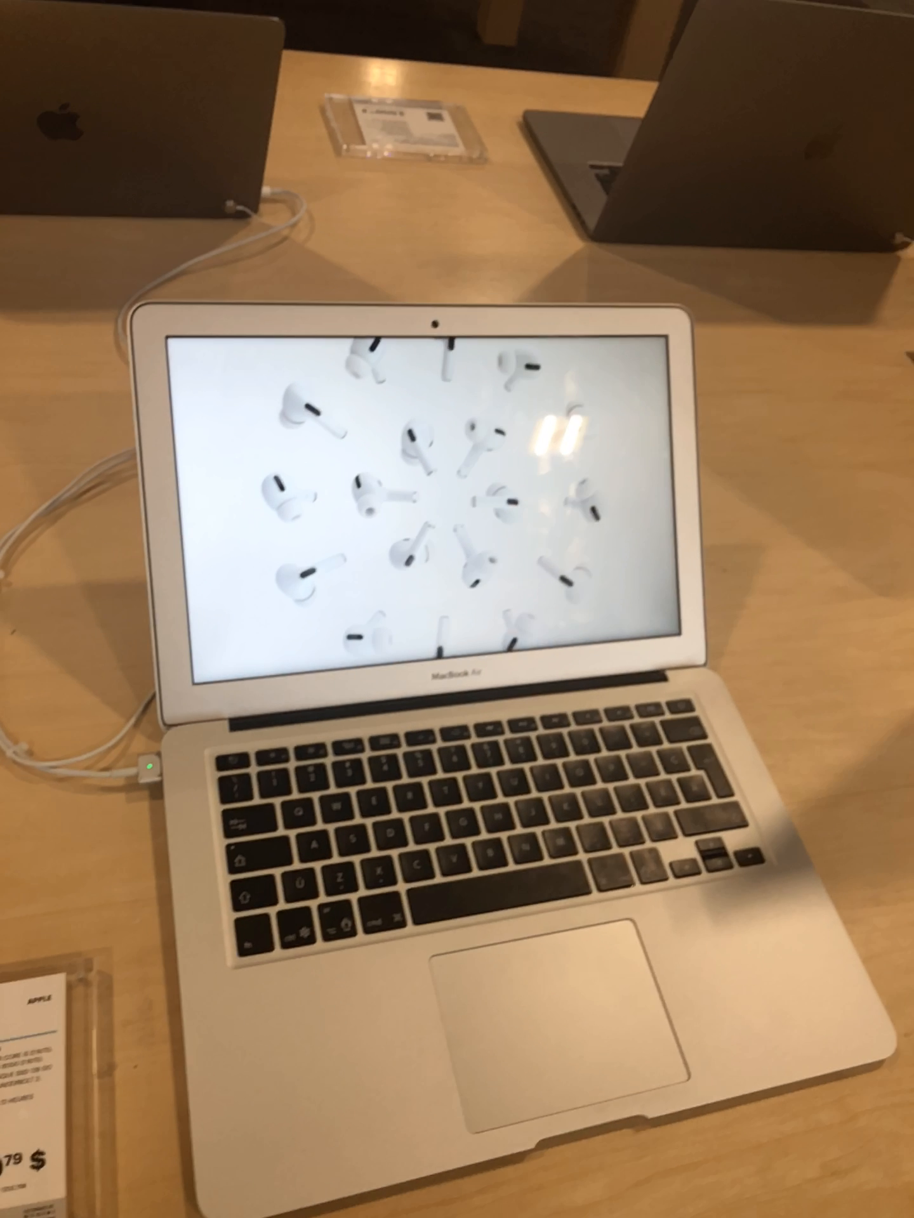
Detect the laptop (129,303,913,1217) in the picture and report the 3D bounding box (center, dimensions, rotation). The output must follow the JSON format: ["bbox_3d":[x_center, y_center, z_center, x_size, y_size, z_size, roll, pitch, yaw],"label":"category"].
[{"bbox_3d":[0.019,0.027,0.478,0.303,0.137,0.371,-5,51,-17],"label":"laptop"}]
